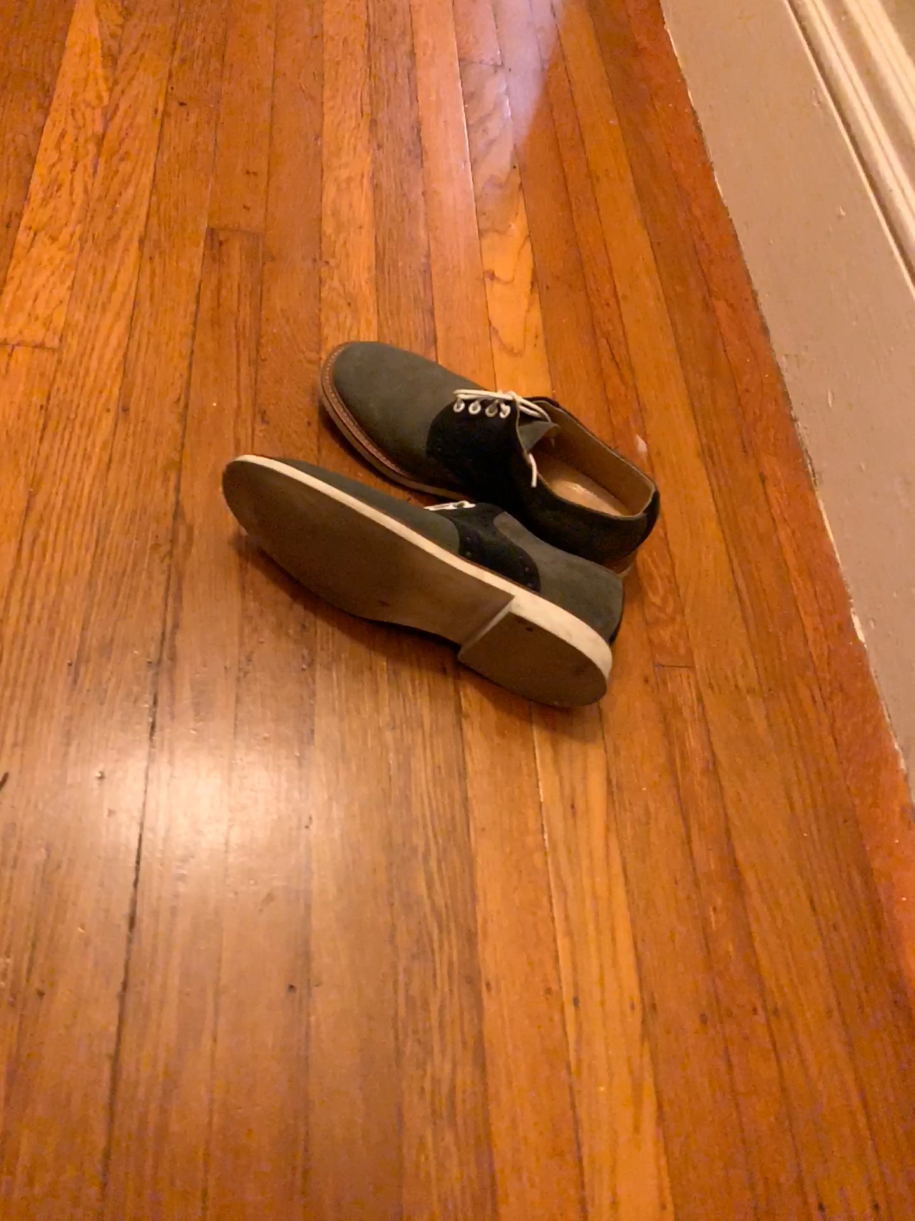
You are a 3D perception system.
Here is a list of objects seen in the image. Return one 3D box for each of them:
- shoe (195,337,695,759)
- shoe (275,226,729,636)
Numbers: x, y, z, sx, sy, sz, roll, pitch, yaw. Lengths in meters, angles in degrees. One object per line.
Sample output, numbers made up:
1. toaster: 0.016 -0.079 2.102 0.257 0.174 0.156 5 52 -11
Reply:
1. shoe: -0.016 -0.042 0.659 0.310 0.130 0.120 27 55 4
2. shoe: 0.025 -0.140 0.704 0.310 0.100 0.130 37 59 10
